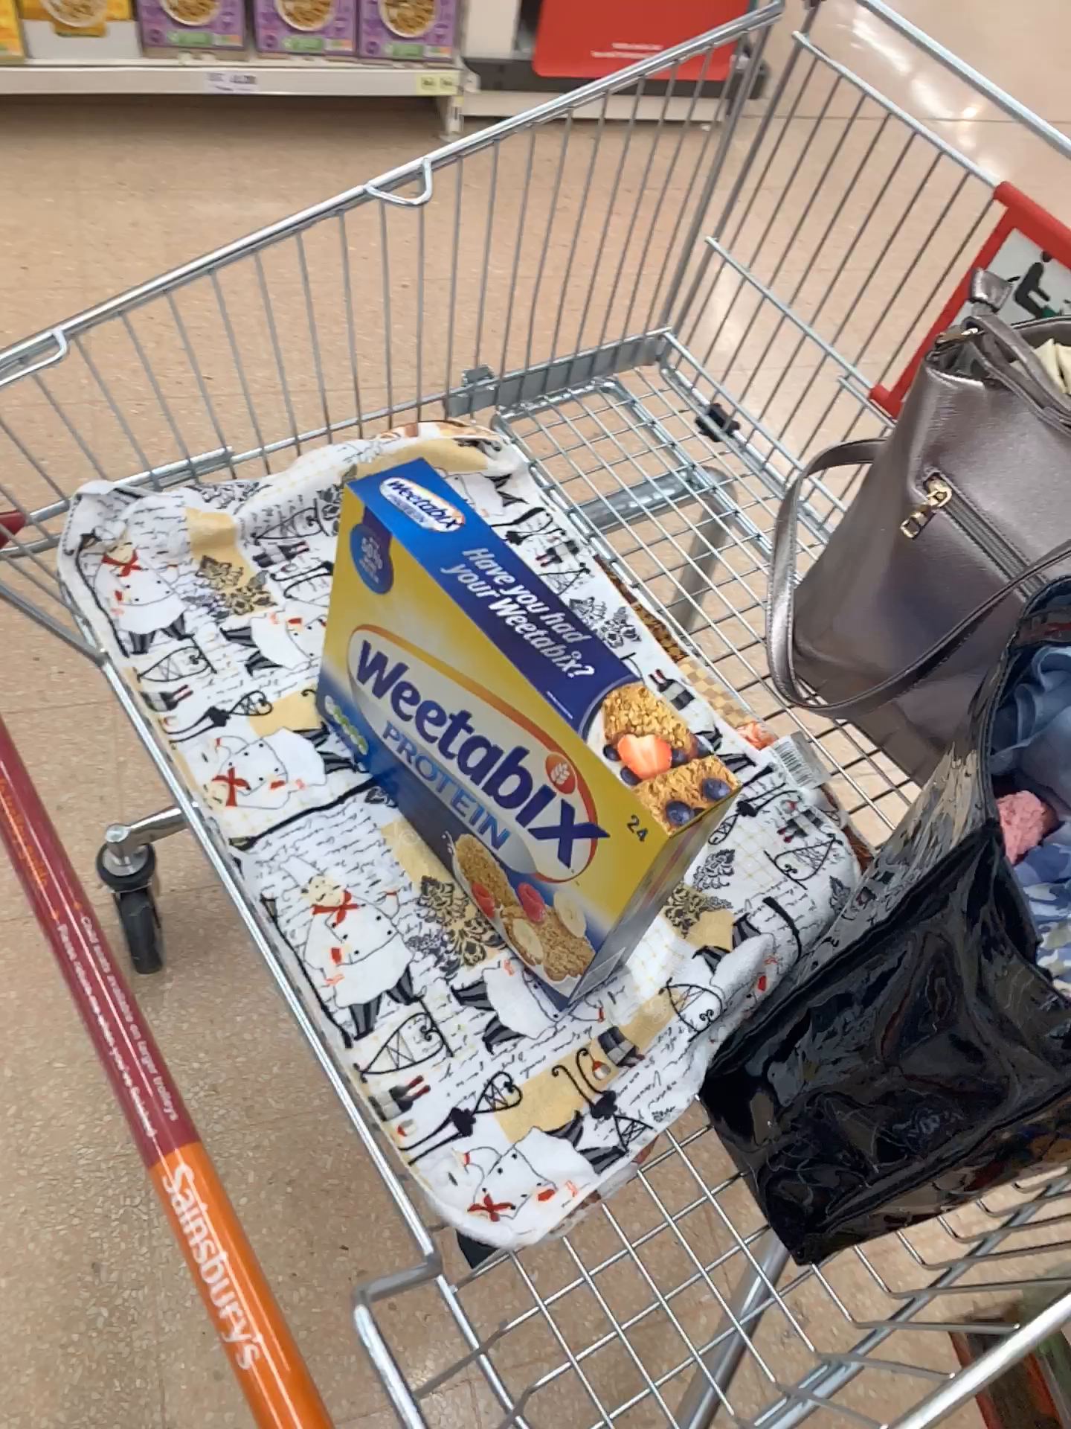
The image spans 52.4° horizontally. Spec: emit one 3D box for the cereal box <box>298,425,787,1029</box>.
[{"bbox_3d":[-0.019,0.010,0.582,0.060,0.199,0.261,-29,66,-34],"label":"cereal box"}]
